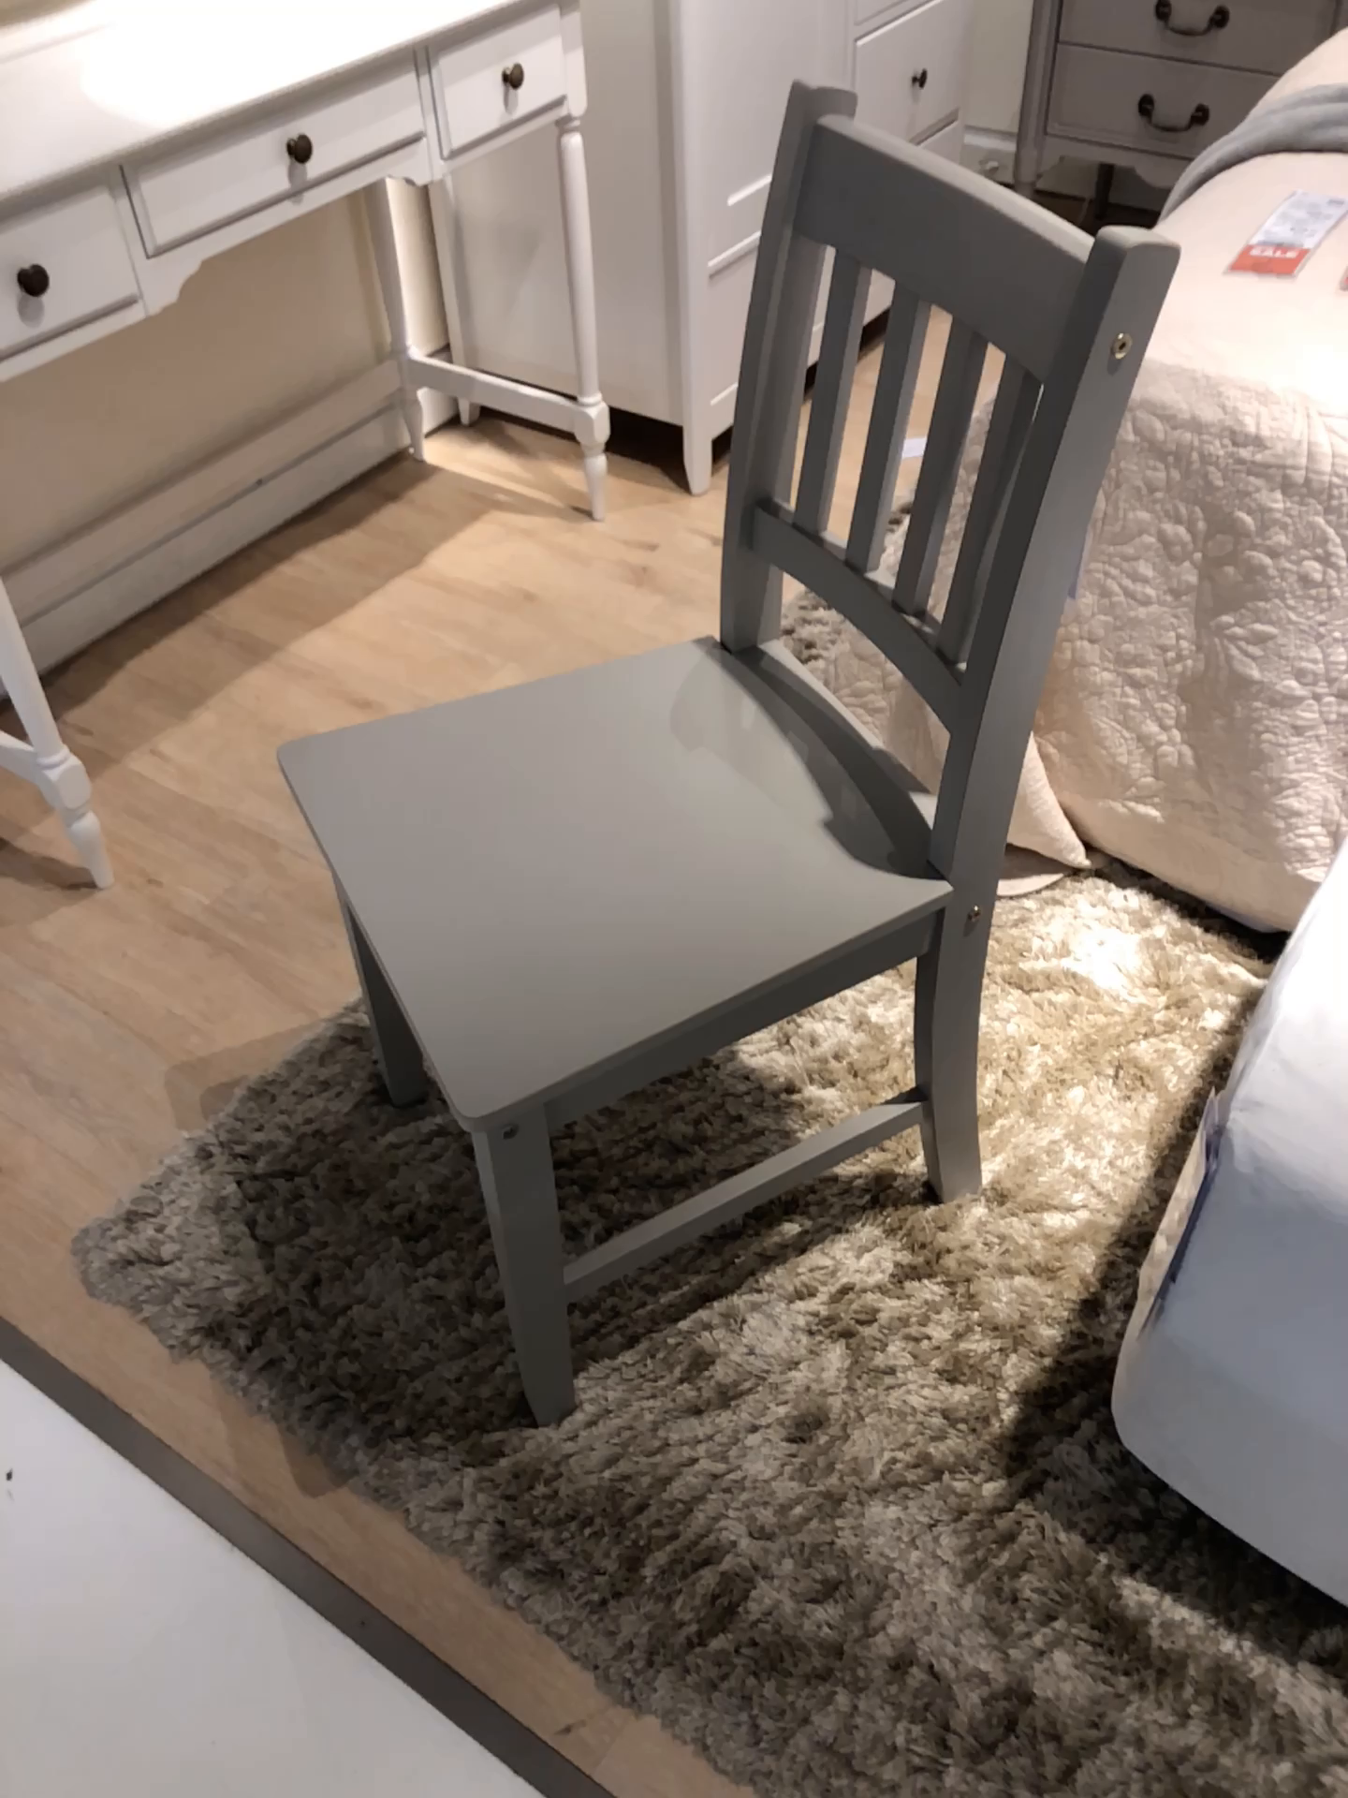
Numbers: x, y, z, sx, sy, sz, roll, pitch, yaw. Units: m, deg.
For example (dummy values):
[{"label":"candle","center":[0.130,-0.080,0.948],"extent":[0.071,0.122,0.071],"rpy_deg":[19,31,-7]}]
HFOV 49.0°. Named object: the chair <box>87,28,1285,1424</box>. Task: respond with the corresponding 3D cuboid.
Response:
[{"label":"chair","center":[-0.014,-0.110,1.139],"extent":[0.531,0.824,0.483],"rpy_deg":[-20,47,-18]}]
